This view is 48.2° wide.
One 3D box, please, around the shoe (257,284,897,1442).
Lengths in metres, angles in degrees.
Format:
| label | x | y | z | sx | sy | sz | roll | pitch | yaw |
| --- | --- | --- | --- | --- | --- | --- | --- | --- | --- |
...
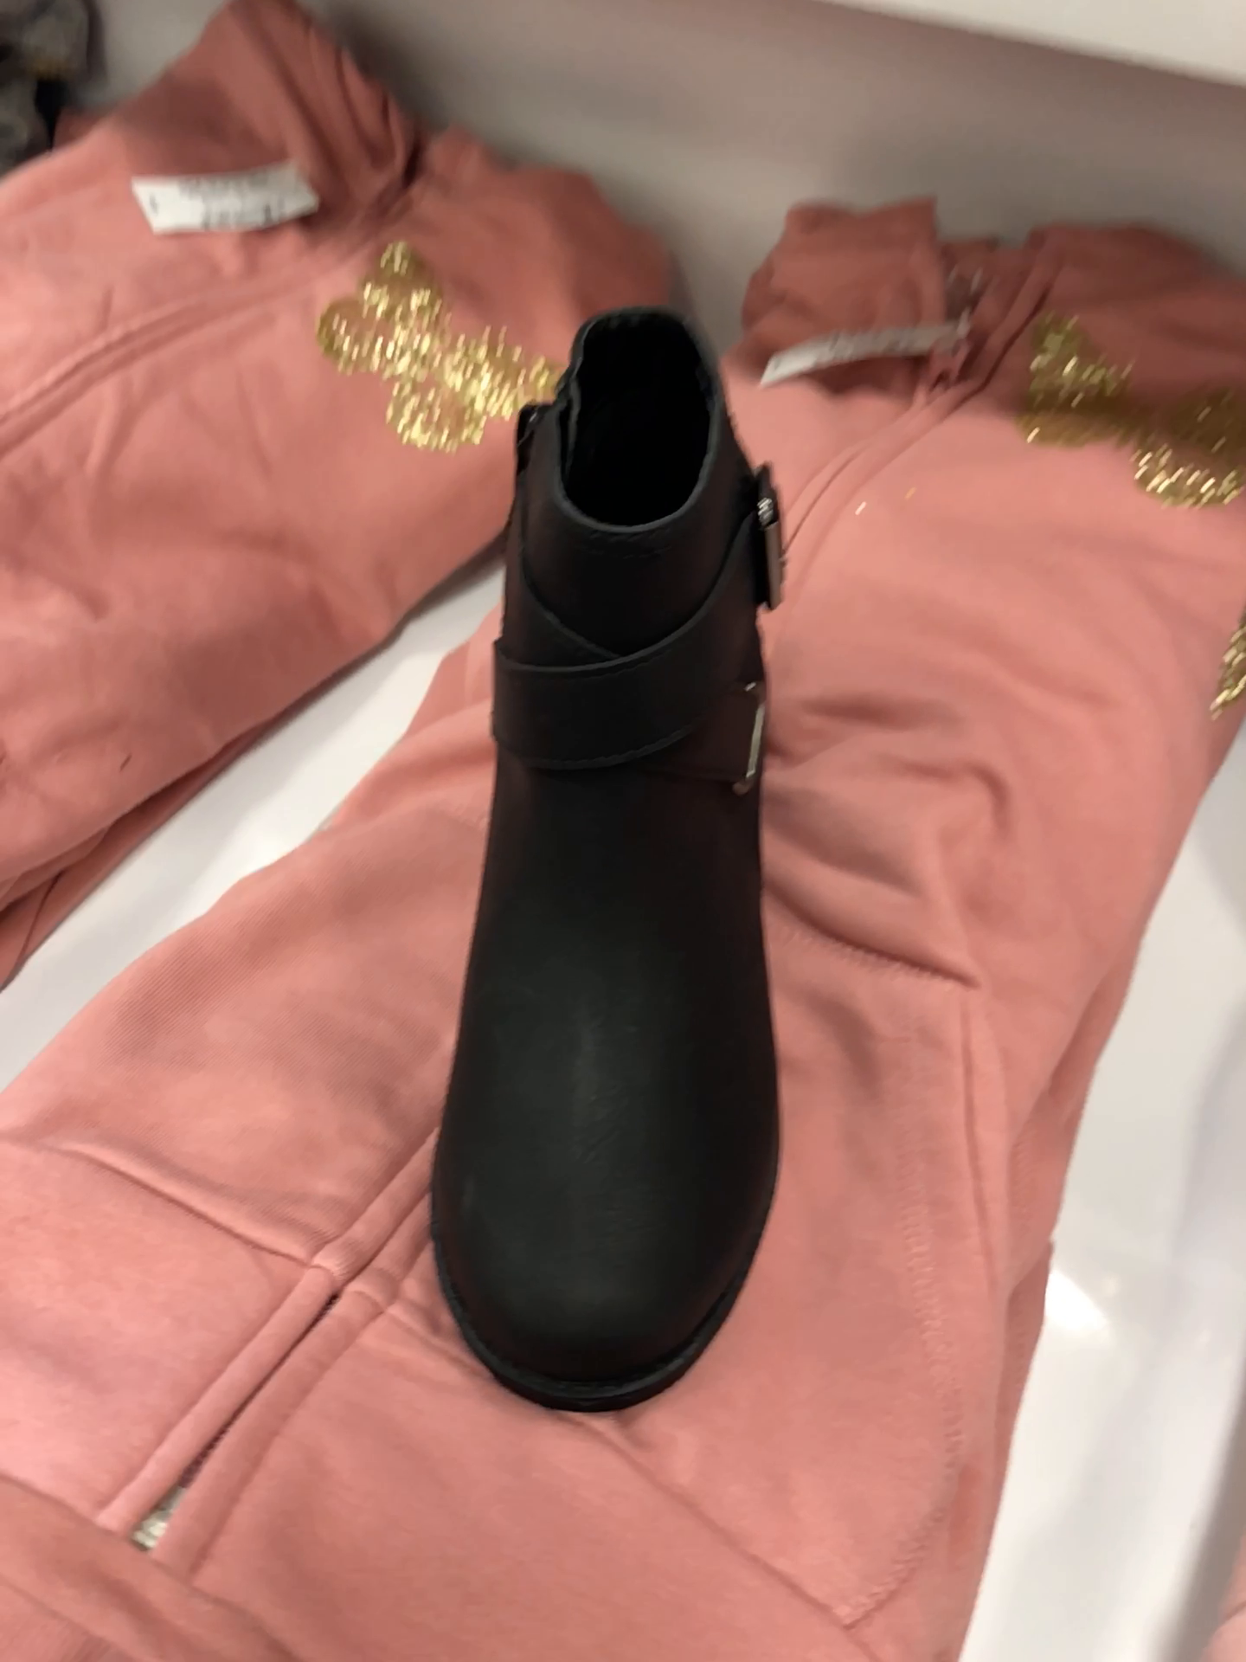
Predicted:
| label | x | y | z | sx | sy | sz | roll | pitch | yaw |
| --- | --- | --- | --- | --- | --- | --- | --- | --- | --- |
| shoe | -0.002 | -0.001 | 0.289 | 0.080 | 0.129 | 0.201 | 2 | 49 | 1 |
